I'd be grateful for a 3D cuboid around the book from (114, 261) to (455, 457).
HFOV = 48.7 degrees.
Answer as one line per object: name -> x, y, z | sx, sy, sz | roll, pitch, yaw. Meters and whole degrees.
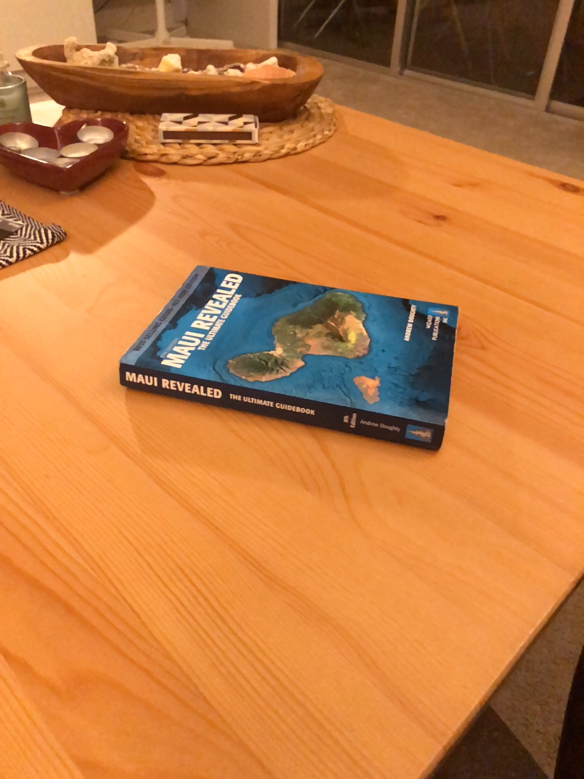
book -> 0.006, -0.031, 0.439 | 0.200, 0.020, 0.147 | 12, 37, 8
